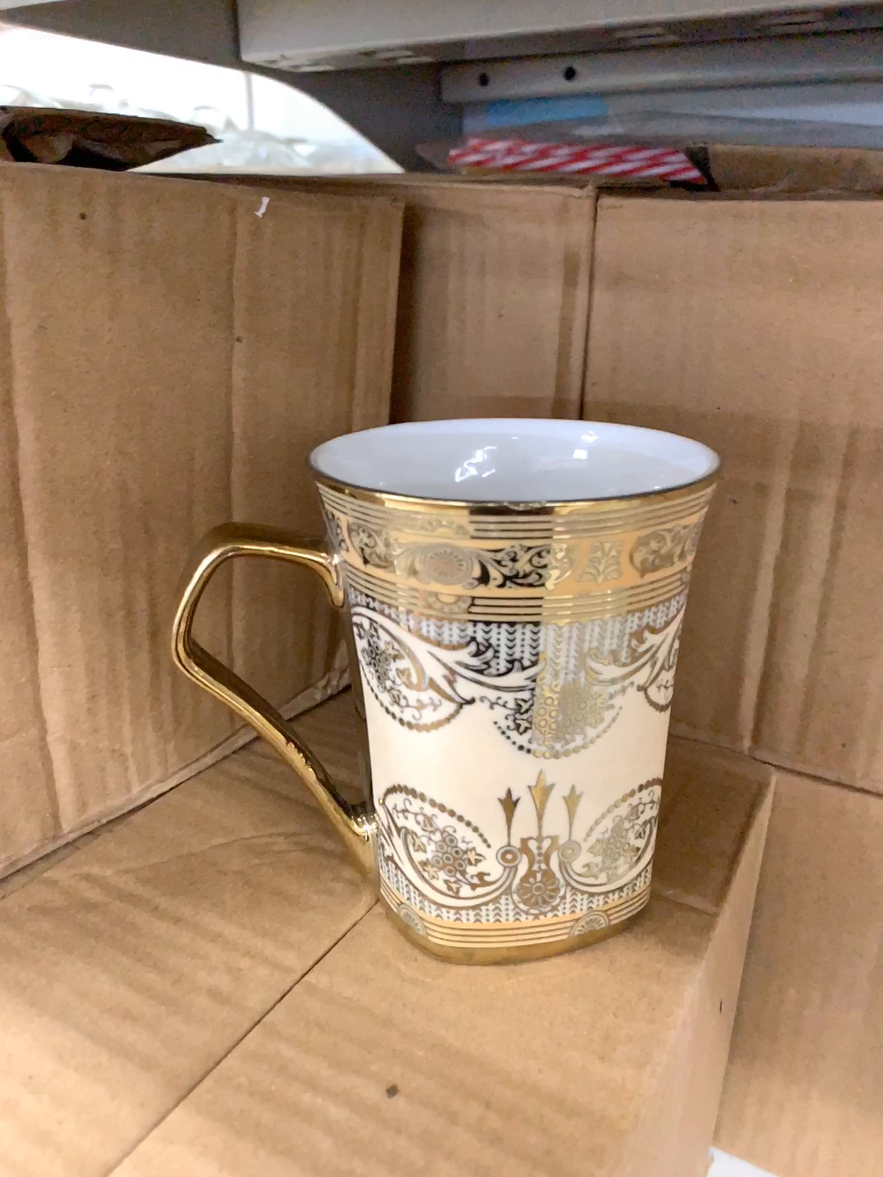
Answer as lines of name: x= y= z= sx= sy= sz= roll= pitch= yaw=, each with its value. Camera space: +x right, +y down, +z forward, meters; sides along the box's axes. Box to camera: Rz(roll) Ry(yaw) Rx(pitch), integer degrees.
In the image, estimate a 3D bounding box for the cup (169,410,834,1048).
cup: x=0.003 y=0.018 z=0.194 sx=0.104 sy=0.092 sz=0.084 roll=-4 pitch=21 yaw=-12
